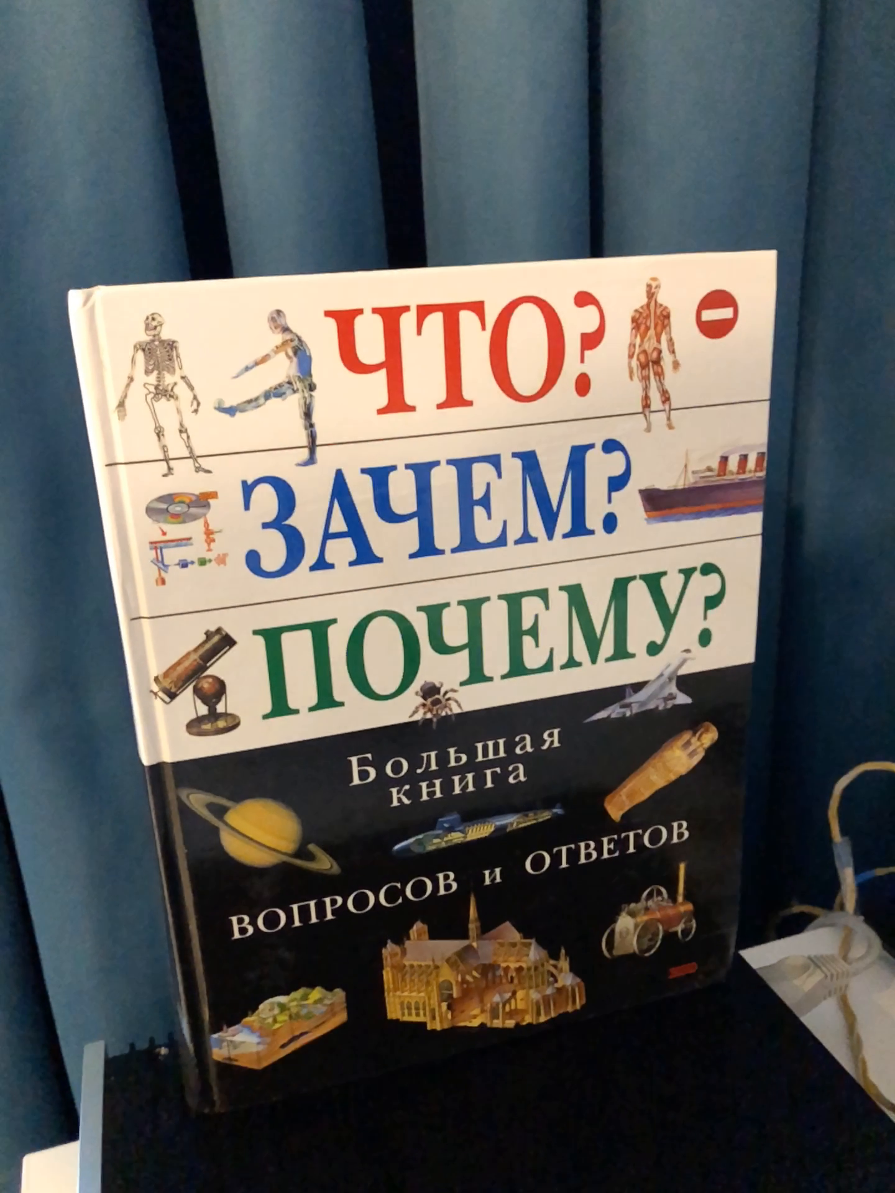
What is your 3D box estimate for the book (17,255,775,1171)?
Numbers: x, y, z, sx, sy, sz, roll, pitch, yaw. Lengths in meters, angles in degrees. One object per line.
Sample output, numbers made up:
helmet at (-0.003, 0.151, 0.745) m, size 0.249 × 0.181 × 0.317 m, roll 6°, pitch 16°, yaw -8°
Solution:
book at (-0.003, 0.043, 0.353) m, size 0.224 × 0.301 × 0.042 m, roll -8°, pitch 20°, yaw -14°
